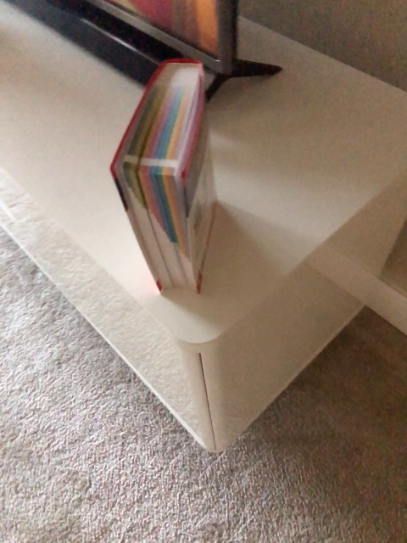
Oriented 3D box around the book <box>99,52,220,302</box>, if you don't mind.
[{"bbox_3d":[-0.028,-0.084,0.437,0.060,0.179,0.150,7,56,9],"label":"book"}]
